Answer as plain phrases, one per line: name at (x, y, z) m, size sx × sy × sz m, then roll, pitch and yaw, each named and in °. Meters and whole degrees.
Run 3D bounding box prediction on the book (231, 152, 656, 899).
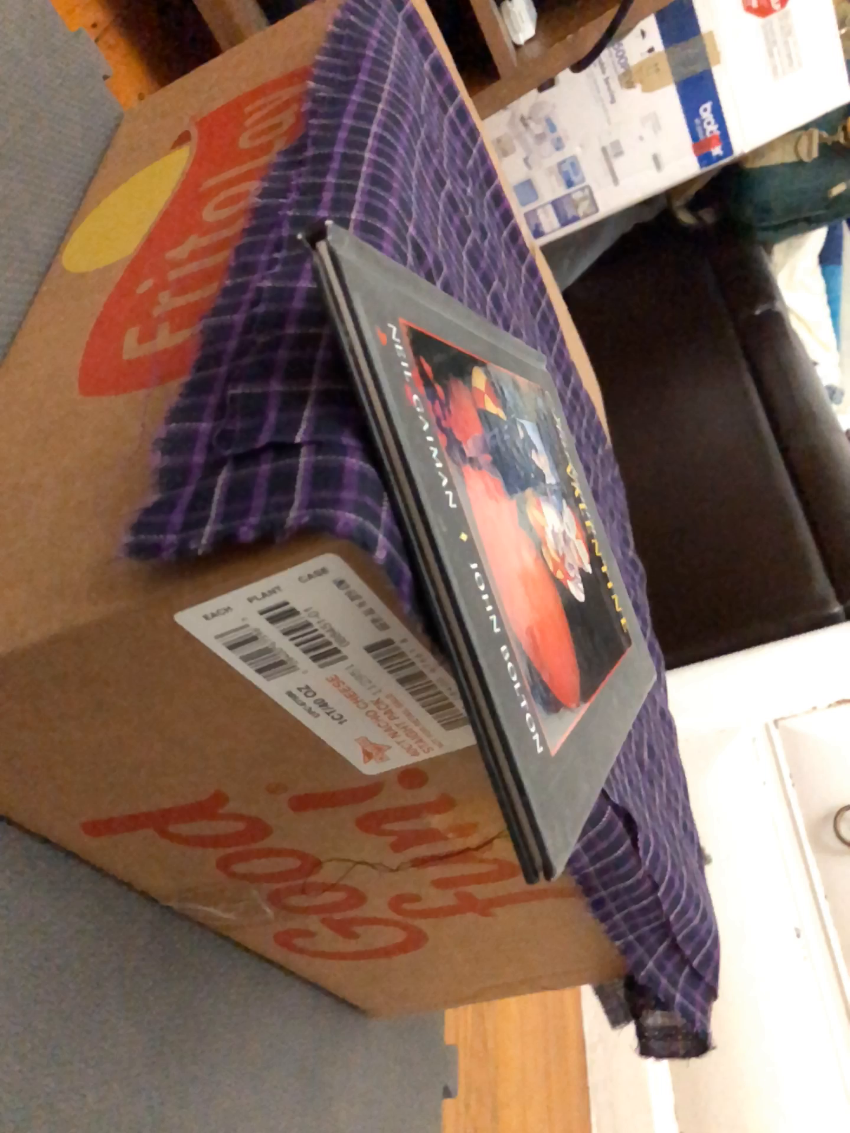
book at (0.036, -0.022, 0.354) m, size 0.180 × 0.020 × 0.281 m, roll 71°, pitch 19°, yaw 1°
